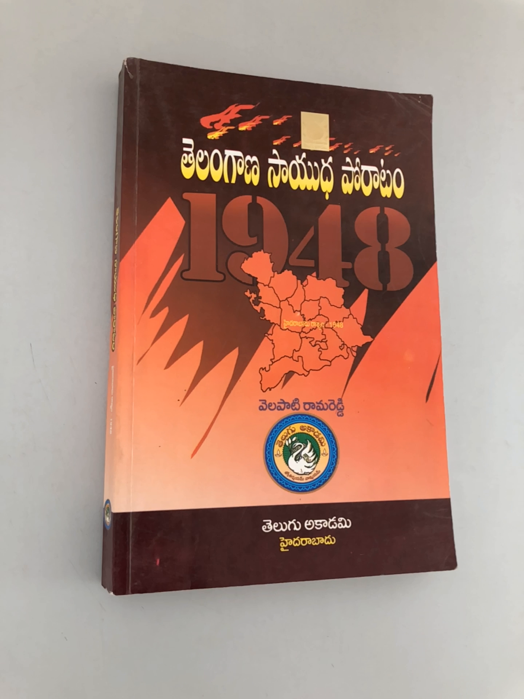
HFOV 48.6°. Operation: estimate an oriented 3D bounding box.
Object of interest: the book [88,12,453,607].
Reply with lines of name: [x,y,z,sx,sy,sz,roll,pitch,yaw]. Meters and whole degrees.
book: [0.005,-0.024,0.294,0.170,0.030,0.270,1,82,-15]
